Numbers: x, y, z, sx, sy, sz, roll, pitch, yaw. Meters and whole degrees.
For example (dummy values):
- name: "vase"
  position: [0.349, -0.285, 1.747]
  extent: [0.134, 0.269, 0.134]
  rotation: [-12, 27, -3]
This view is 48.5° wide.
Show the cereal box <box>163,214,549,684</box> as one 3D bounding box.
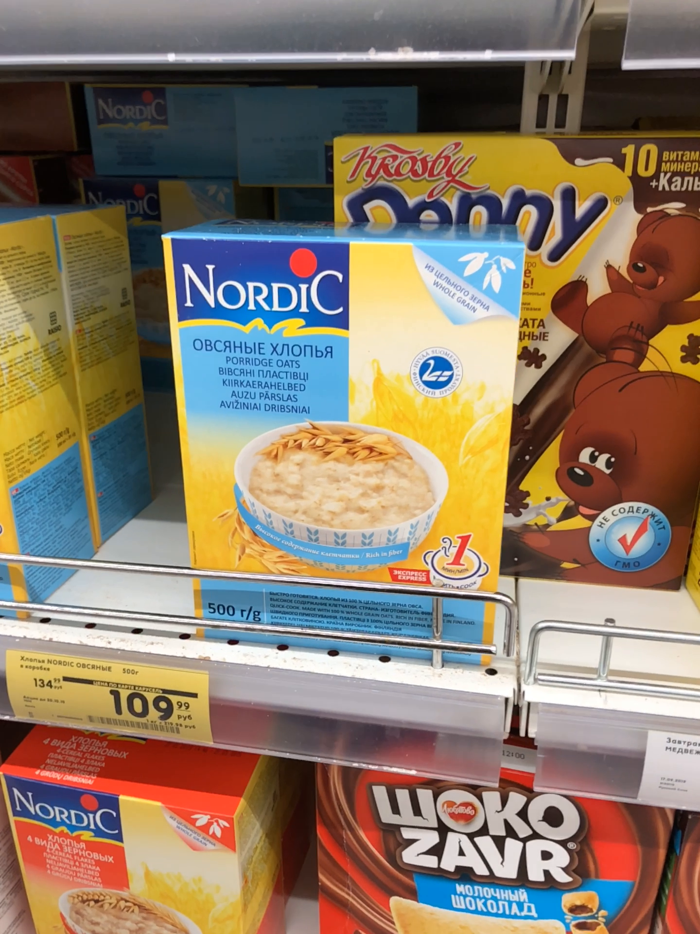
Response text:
- name: "cereal box"
  position: [0.006, -0.010, 0.366]
  extent: [0.150, 0.199, 0.070]
  rotation: [4, 23, 10]
